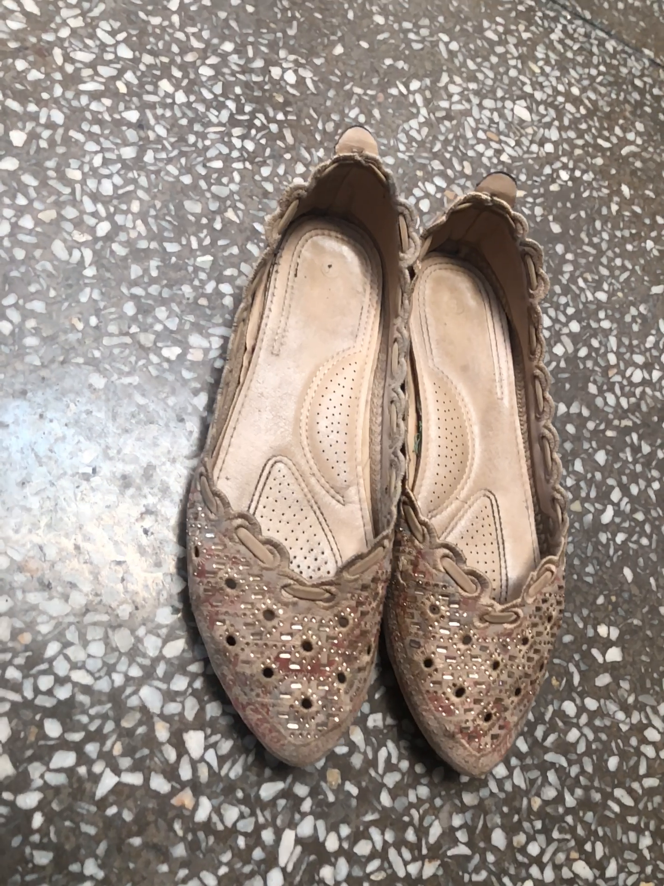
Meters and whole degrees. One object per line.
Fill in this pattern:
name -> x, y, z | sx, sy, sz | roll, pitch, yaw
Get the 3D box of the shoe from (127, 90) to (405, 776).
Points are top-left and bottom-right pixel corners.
shoe -> -0.021, -0.013, 0.317 | 0.090, 0.040, 0.280 | 9, 70, -18

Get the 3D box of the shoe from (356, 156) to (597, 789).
shoe -> 0.069, 0.008, 0.340 | 0.090, 0.040, 0.270 | 9, 74, -18
